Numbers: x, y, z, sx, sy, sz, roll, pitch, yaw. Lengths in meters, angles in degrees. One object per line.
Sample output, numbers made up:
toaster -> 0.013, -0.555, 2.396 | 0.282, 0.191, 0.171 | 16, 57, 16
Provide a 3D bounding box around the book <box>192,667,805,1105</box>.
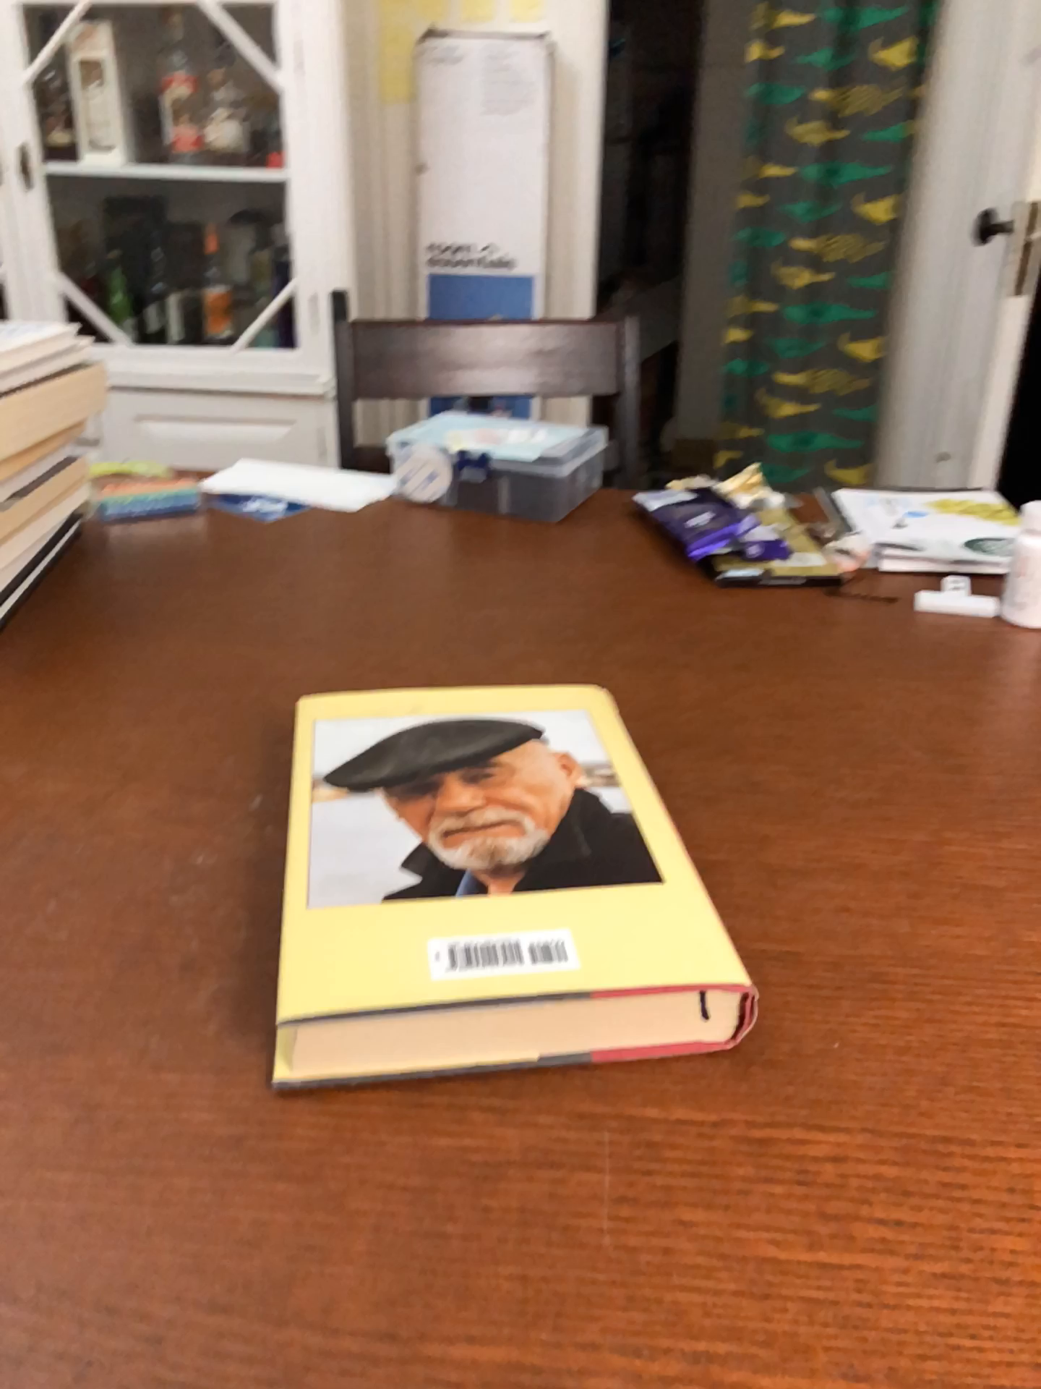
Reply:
book -> -0.021, 0.056, 0.472 | 0.190, 0.030, 0.251 | -3, 25, -8
